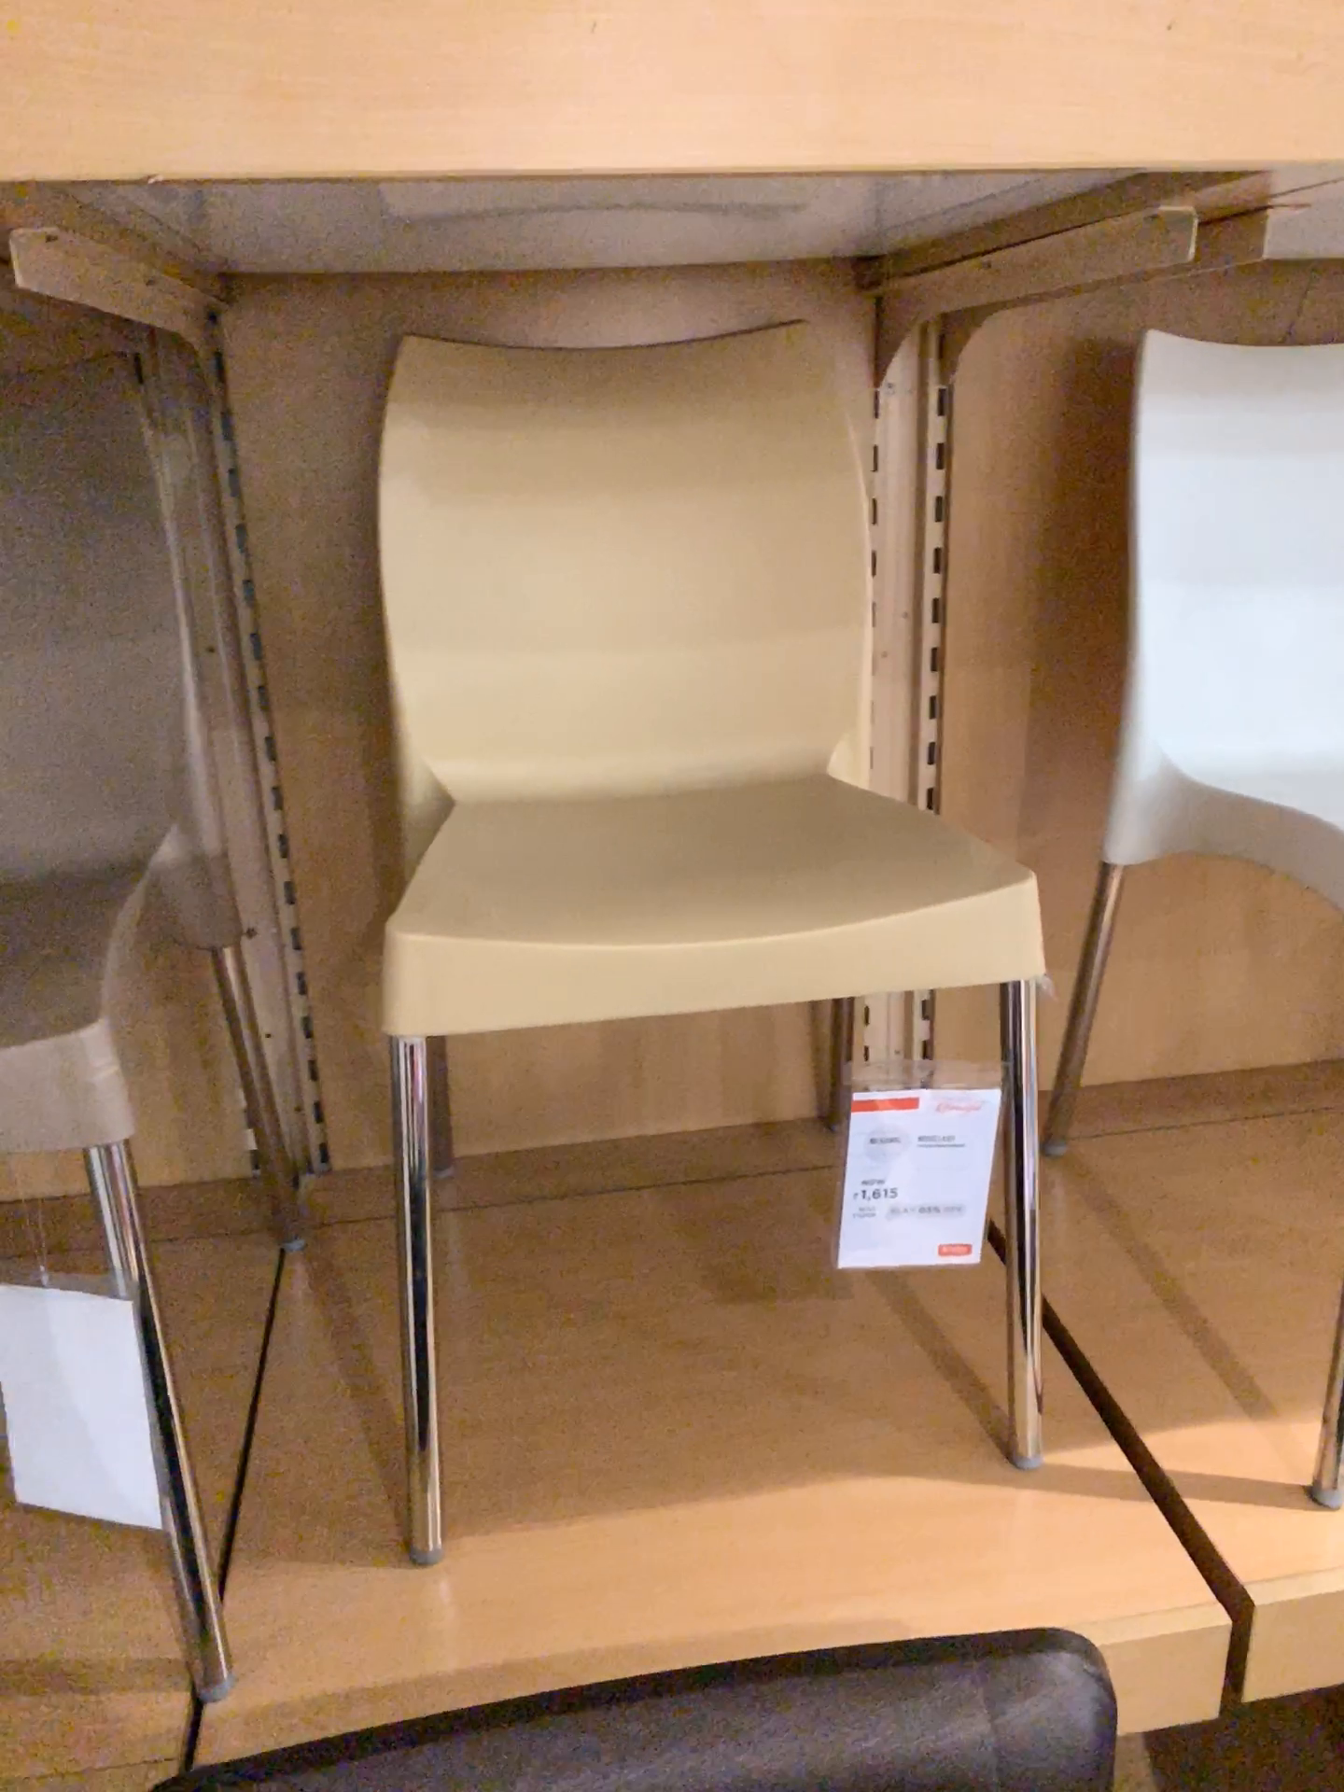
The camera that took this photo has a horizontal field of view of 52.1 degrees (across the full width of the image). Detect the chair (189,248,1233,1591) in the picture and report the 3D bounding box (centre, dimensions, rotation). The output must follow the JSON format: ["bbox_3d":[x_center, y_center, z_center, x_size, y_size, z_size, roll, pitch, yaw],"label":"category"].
[{"bbox_3d":[-0.021,-0.036,1.100,0.540,0.807,0.592,-3,20,-11],"label":"chair"}]
